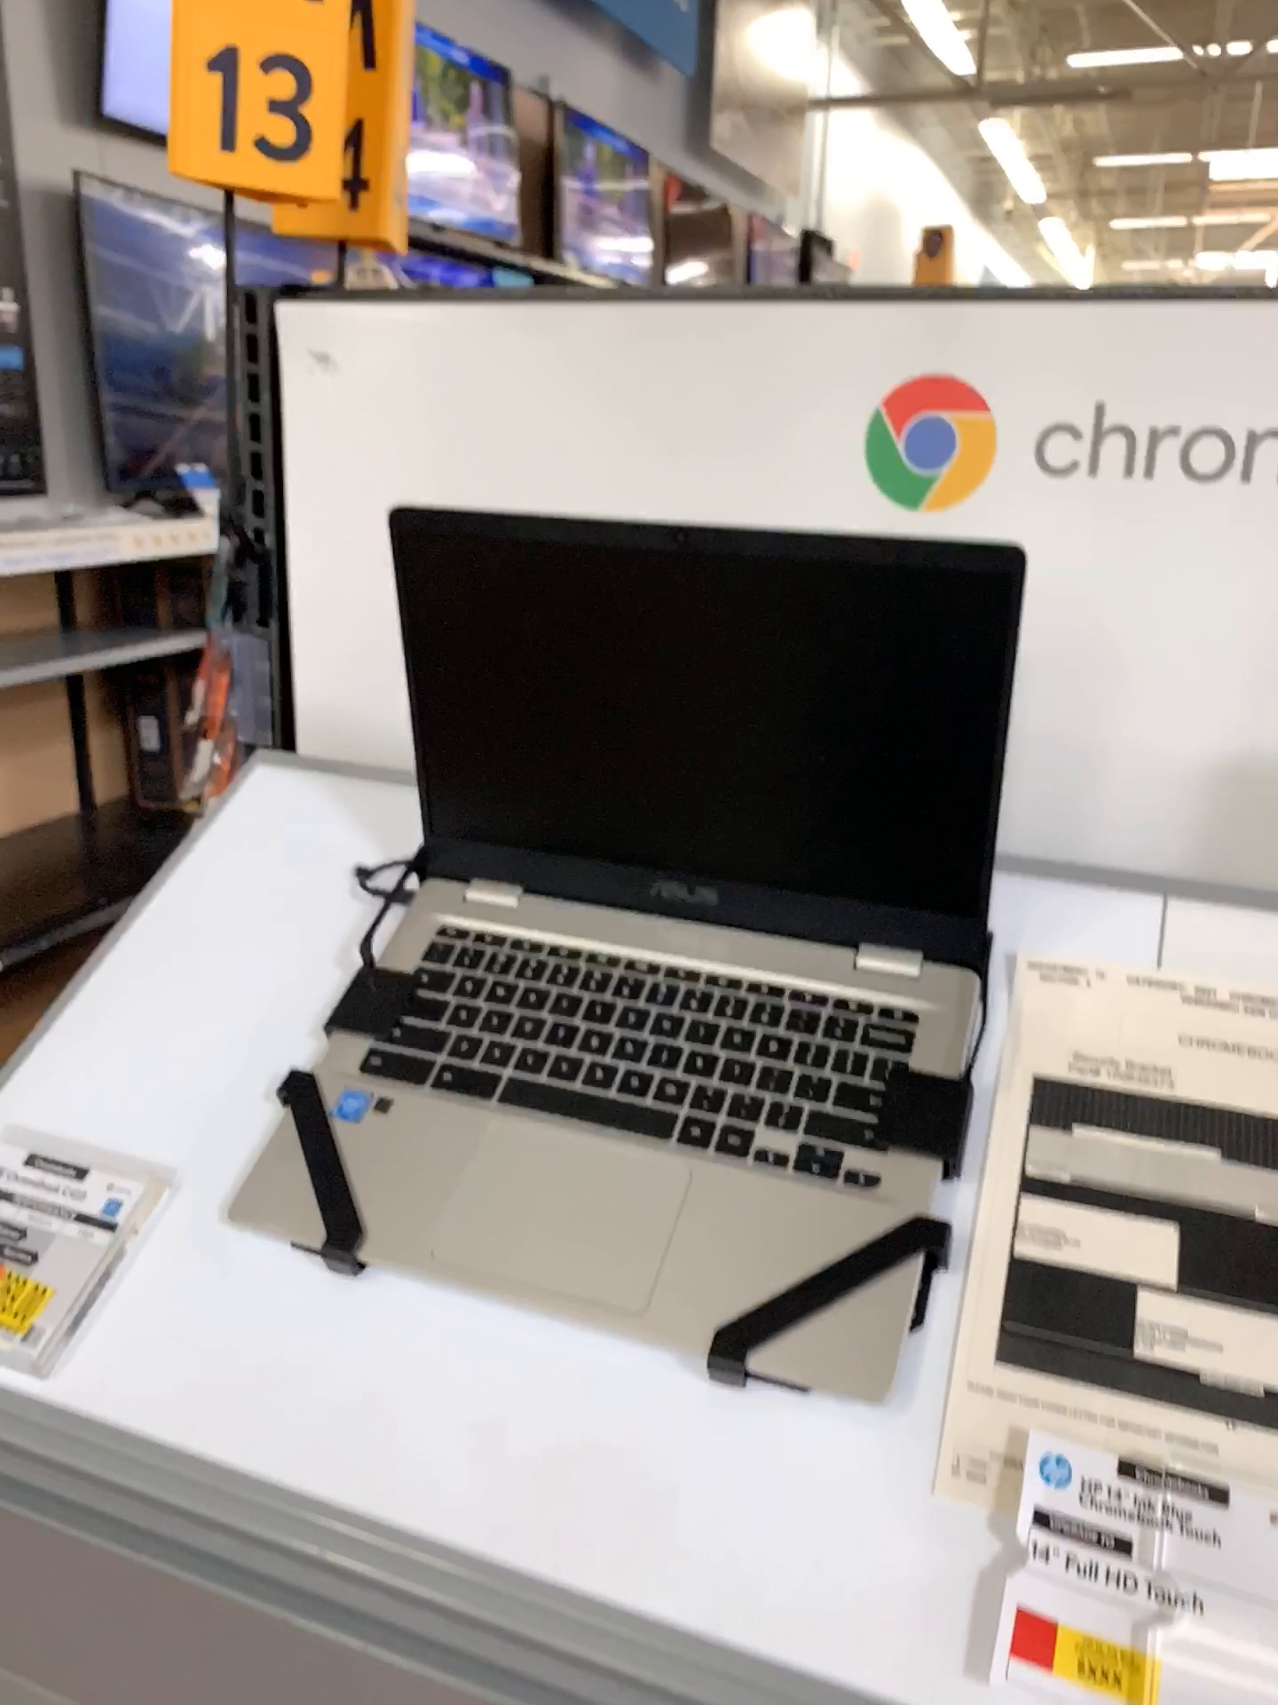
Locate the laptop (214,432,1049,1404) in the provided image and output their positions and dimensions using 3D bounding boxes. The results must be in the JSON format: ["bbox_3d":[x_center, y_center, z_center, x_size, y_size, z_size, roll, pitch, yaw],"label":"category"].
[{"bbox_3d":[0.007,-0.010,0.636,0.308,0.196,0.293,9,39,19],"label":"laptop"}]
